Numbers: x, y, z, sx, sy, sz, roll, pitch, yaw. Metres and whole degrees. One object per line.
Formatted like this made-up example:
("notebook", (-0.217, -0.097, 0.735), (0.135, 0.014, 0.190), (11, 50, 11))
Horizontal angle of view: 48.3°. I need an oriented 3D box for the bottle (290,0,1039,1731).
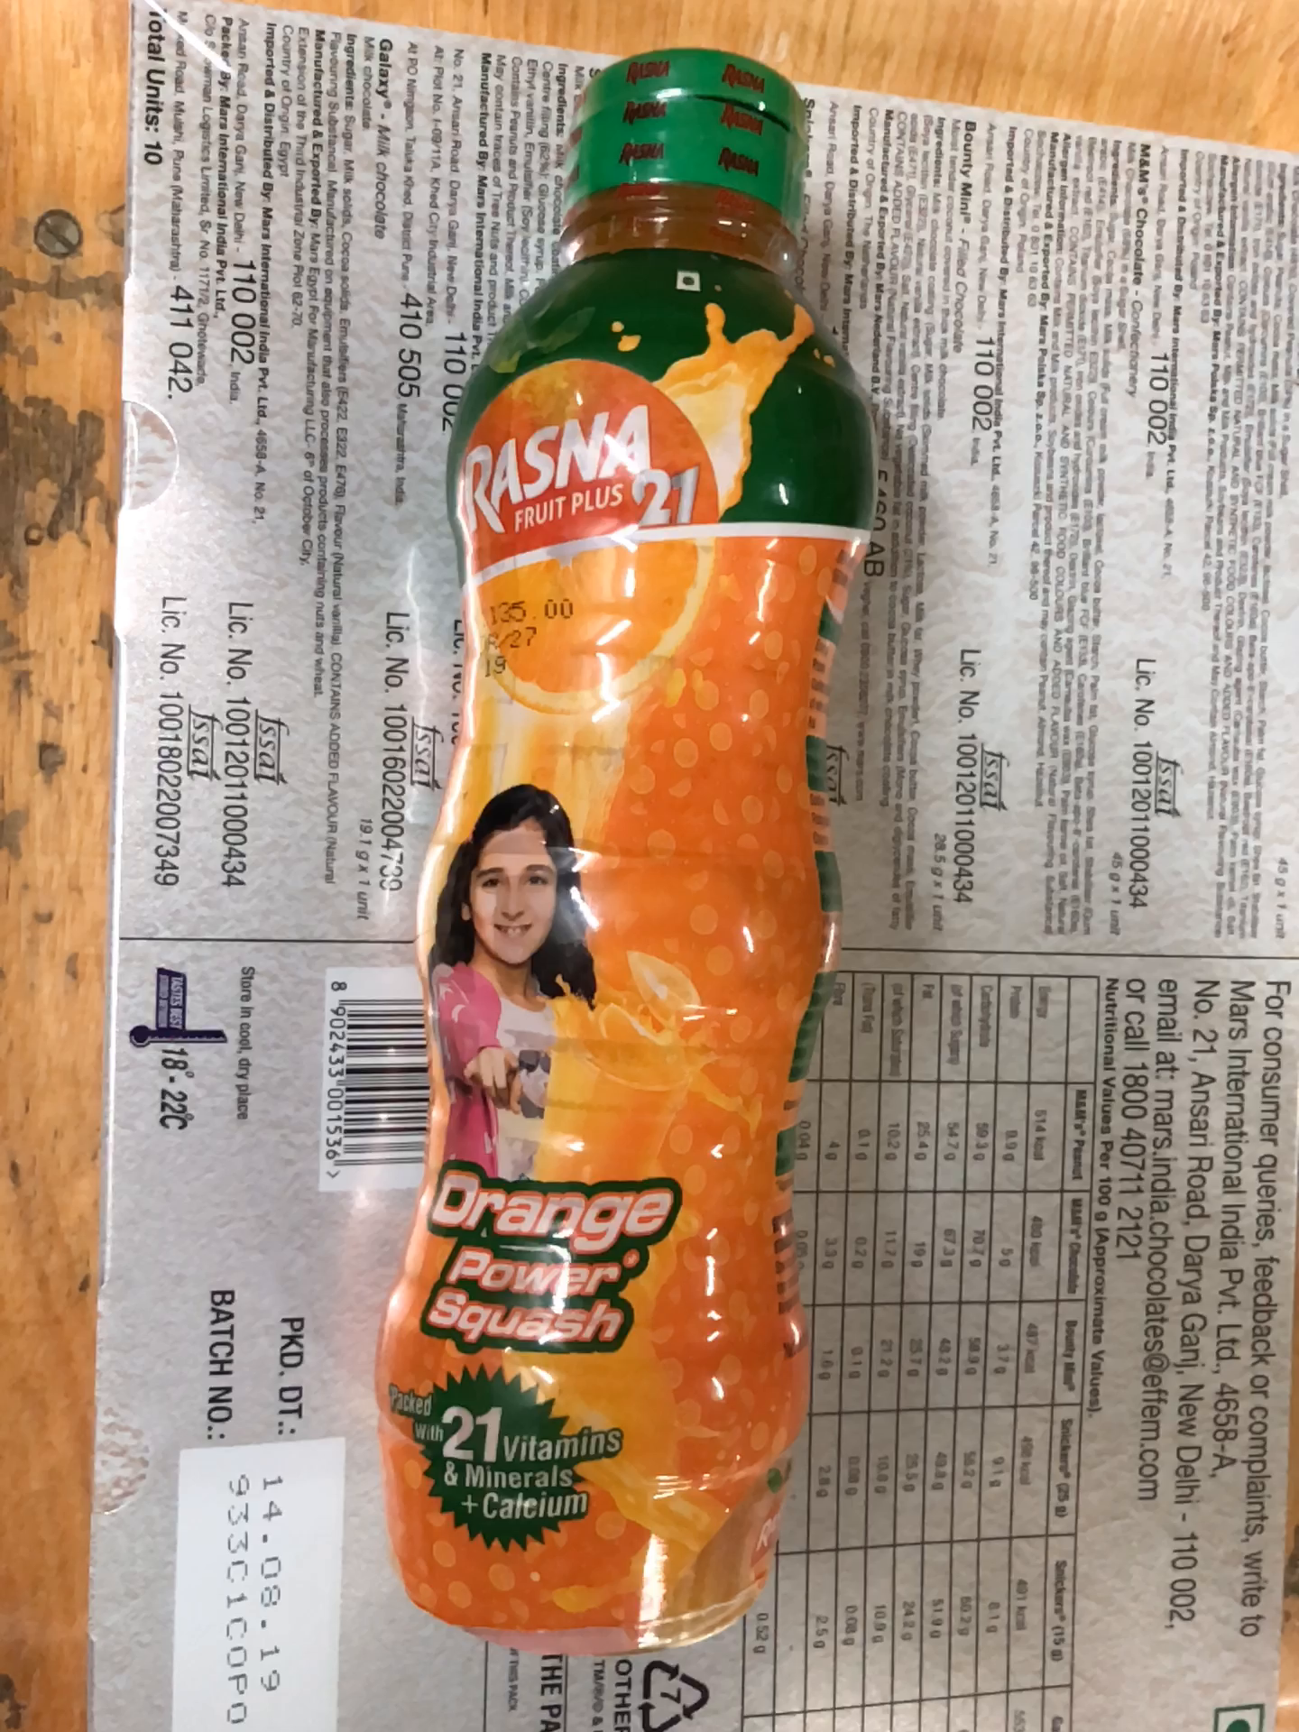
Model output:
("bottle", (0.003, -0.011, 0.236), (0.080, 0.070, 0.250), (2, 93, -47))
